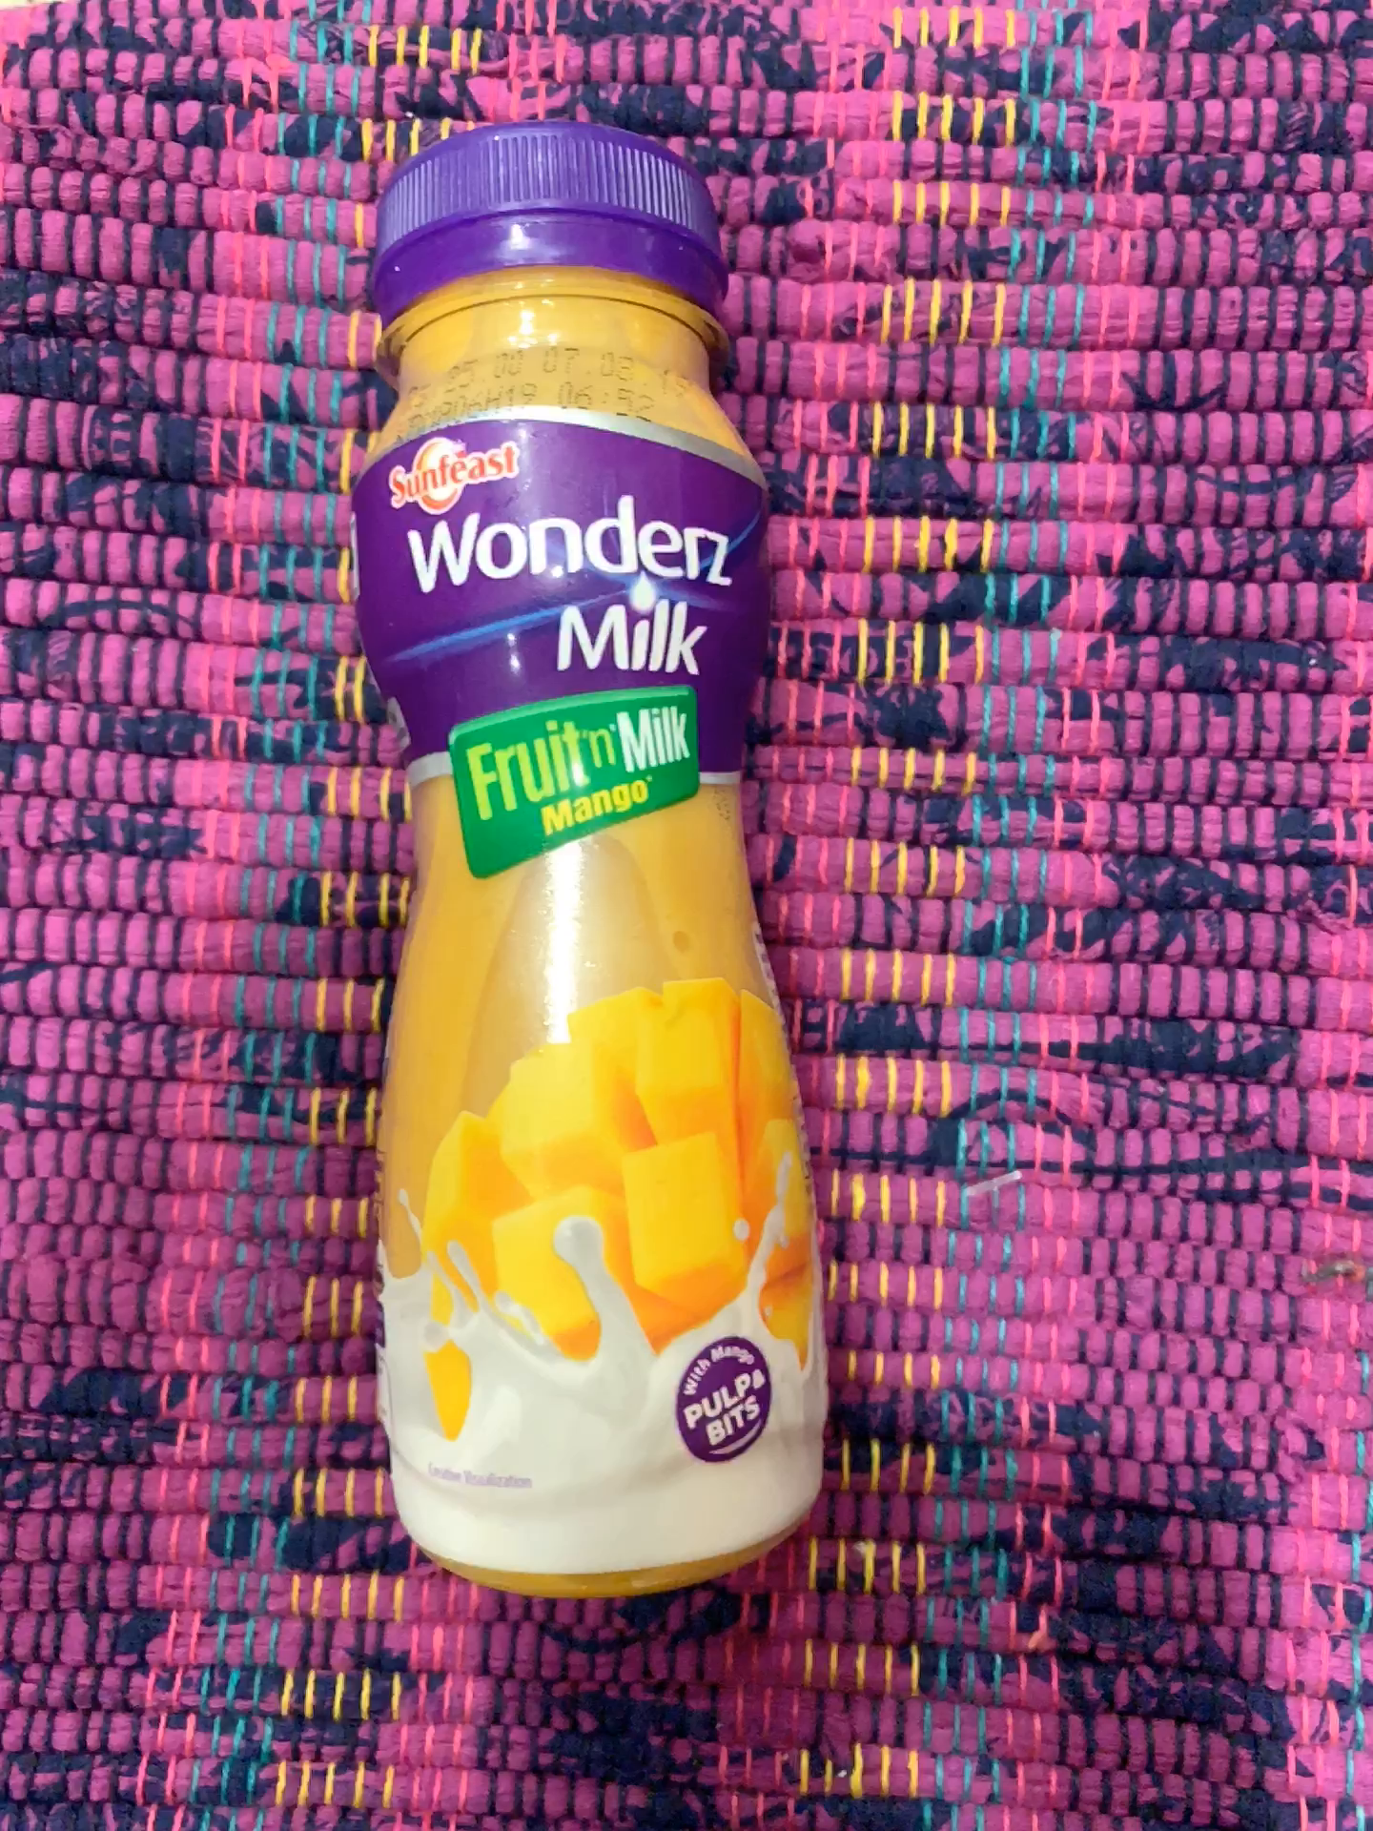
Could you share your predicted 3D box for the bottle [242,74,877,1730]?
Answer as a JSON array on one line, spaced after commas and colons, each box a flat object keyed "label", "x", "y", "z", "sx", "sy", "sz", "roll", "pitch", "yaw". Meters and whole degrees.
[{"label": "bottle", "x": -0.013, "y": -0.003, "z": 0.152, "sx": 0.050, "sy": 0.040, "sz": 0.150, "roll": -3, "pitch": 86, "yaw": -2}]
